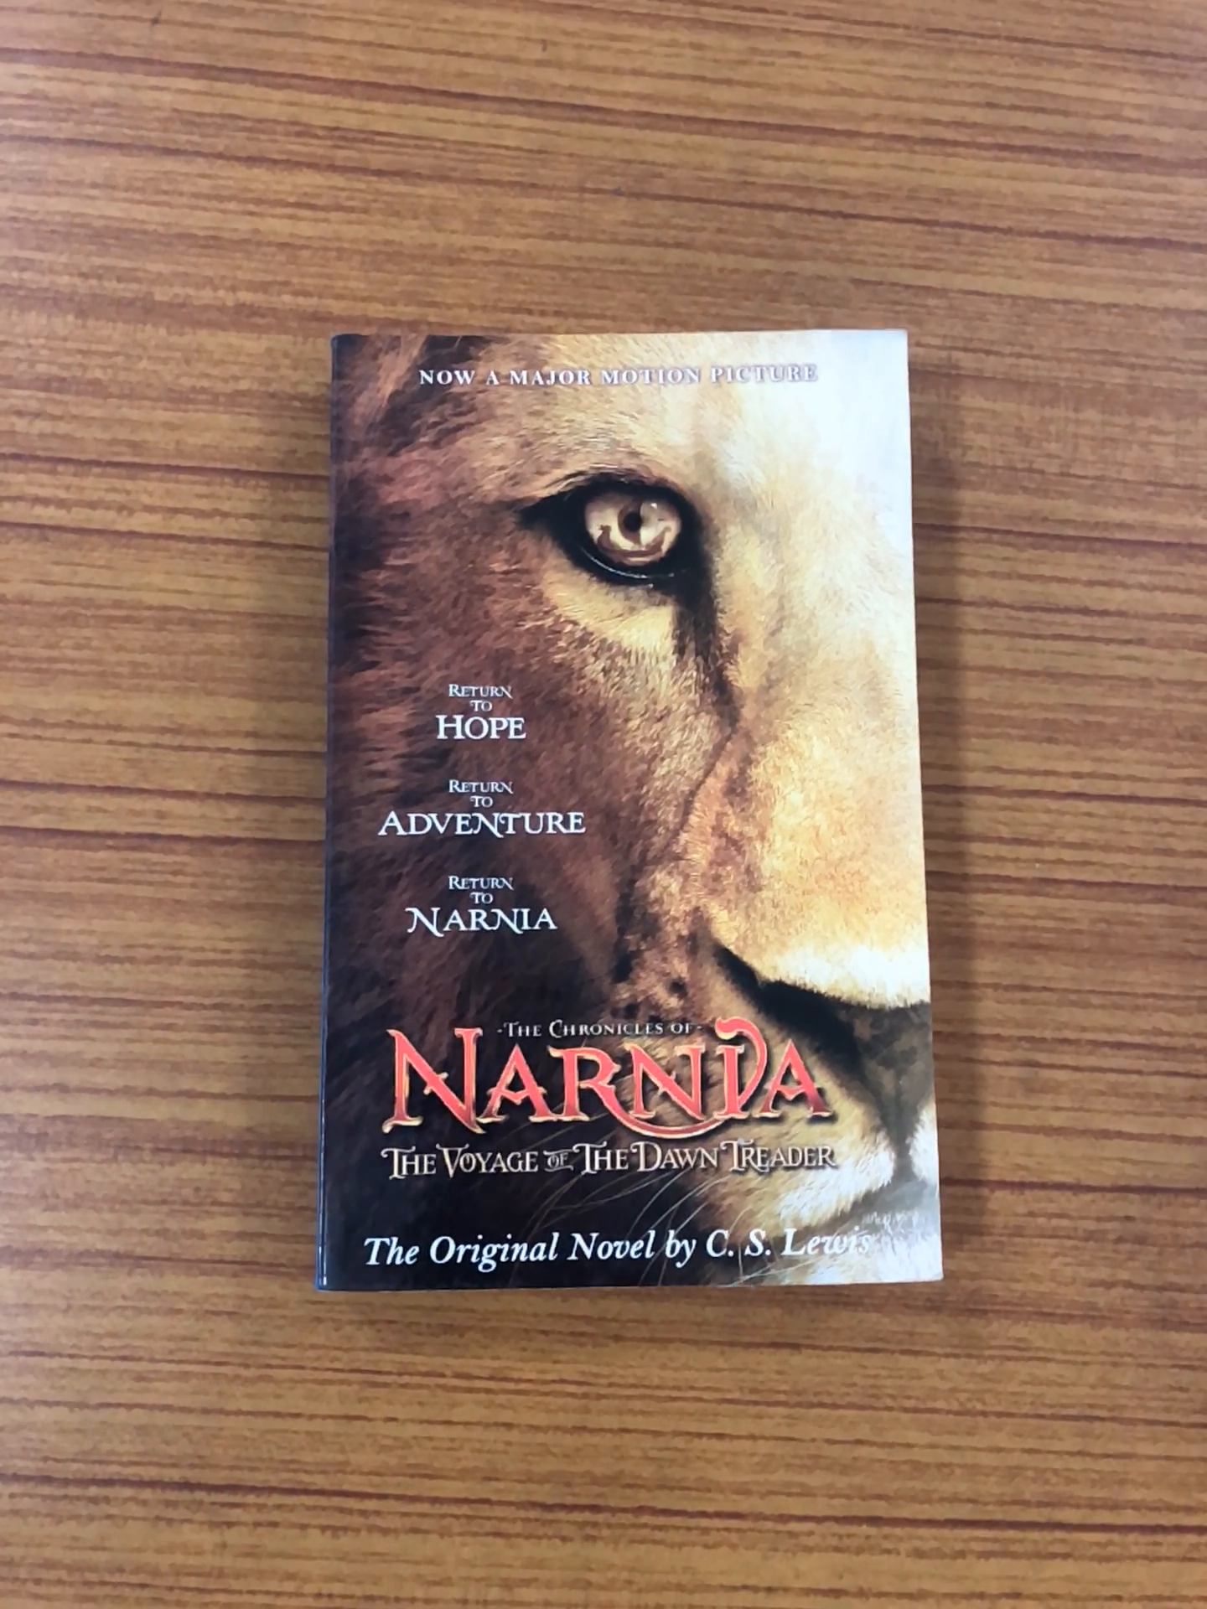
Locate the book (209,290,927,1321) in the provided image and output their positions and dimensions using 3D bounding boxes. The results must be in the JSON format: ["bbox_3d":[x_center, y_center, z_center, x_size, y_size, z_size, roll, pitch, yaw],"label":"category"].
[{"bbox_3d":[-0.007,-0.002,0.252,0.120,0.030,0.180,0,83,-3],"label":"book"}]
